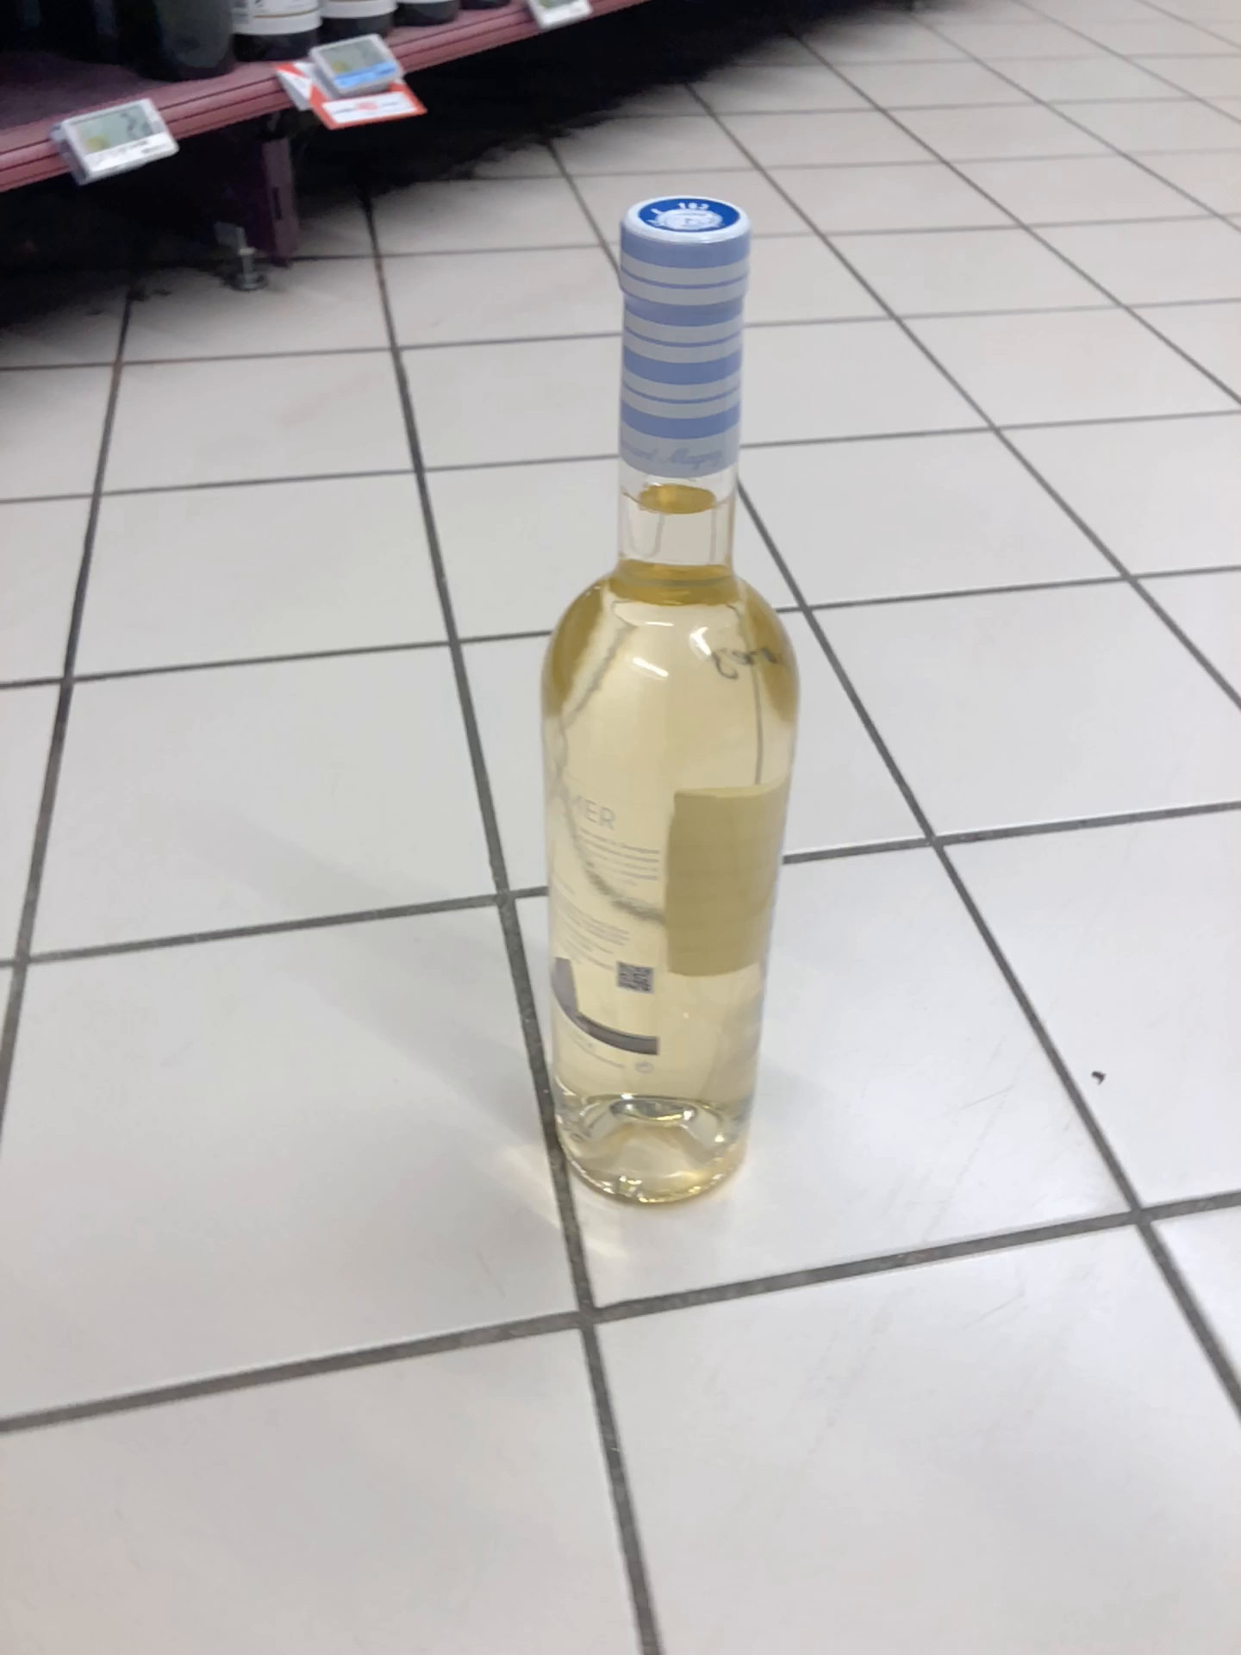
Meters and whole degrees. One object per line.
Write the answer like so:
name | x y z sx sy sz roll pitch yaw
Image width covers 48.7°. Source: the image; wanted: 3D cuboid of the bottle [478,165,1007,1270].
bottle | 0.020 -0.007 0.388 0.080 0.308 0.080 1 41 -1
